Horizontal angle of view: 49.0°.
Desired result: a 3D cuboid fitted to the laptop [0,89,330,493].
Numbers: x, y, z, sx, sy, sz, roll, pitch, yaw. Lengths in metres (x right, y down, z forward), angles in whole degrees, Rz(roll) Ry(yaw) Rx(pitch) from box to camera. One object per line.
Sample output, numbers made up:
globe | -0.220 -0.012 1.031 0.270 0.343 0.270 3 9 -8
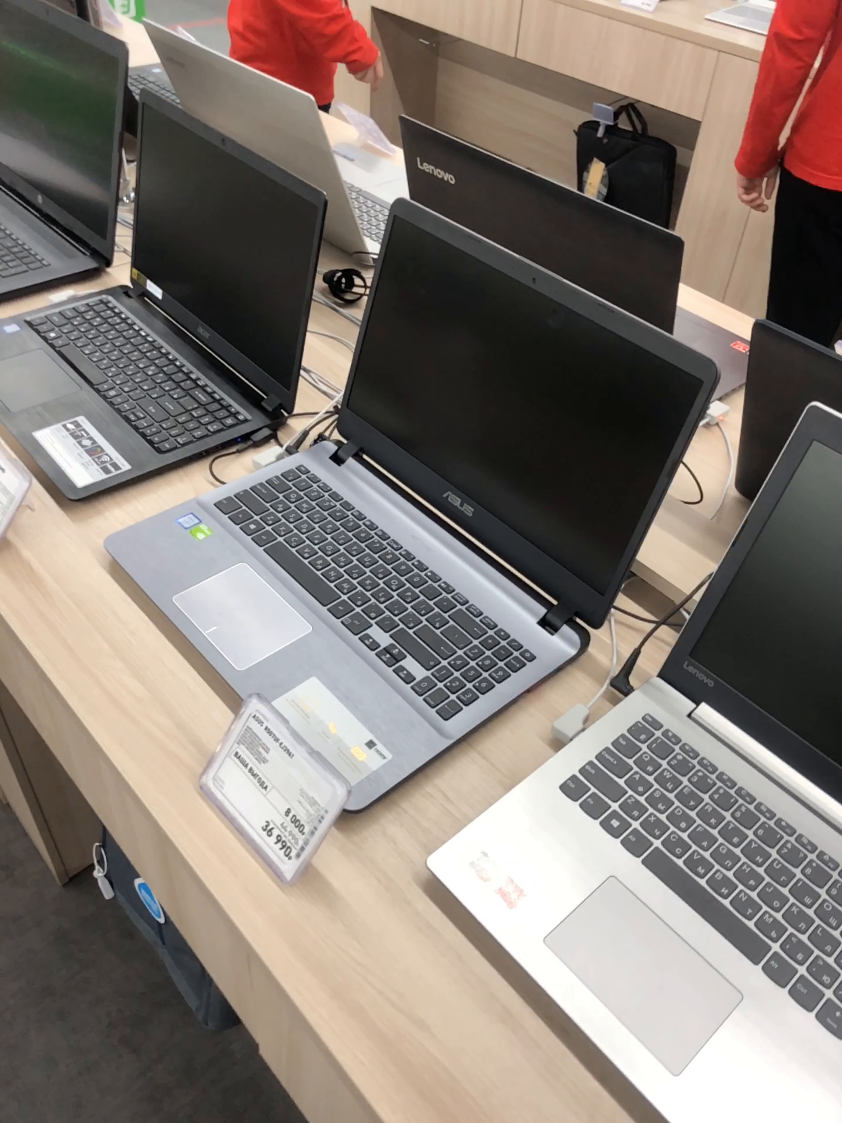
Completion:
laptop | -0.315 -0.294 0.942 0.292 0.222 0.333 -28 52 -30

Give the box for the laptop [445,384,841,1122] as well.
laptop | 0.256 0.146 0.515 0.333 0.220 0.371 -32 54 -31

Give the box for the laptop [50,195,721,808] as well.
laptop | -0.034 -0.080 0.727 0.329 0.226 0.345 -30 53 -31
